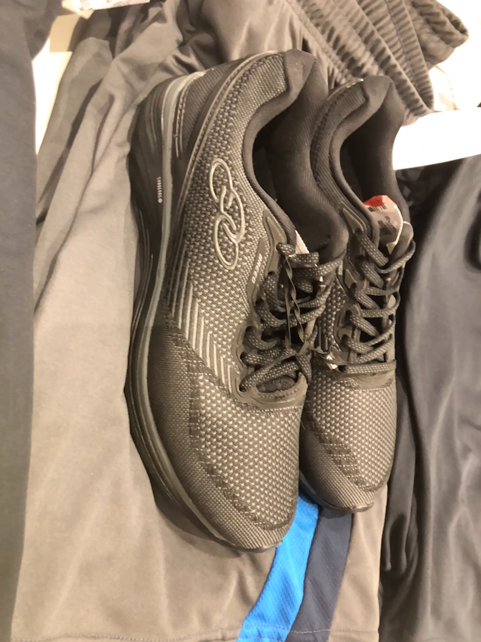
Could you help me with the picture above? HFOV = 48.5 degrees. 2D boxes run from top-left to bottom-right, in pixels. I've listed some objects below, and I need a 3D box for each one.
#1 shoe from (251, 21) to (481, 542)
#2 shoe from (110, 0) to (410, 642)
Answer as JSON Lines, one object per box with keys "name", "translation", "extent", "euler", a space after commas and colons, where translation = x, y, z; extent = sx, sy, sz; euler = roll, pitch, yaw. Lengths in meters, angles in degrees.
{"name": "shoe", "translation": [0.086, -0.021, 0.350], "extent": [0.101, 0.099, 0.280], "euler": [3, 79, -39]}
{"name": "shoe", "translation": [0.003, -0.005, 0.283], "extent": [0.101, 0.099, 0.270], "euler": [3, 79, -39]}
